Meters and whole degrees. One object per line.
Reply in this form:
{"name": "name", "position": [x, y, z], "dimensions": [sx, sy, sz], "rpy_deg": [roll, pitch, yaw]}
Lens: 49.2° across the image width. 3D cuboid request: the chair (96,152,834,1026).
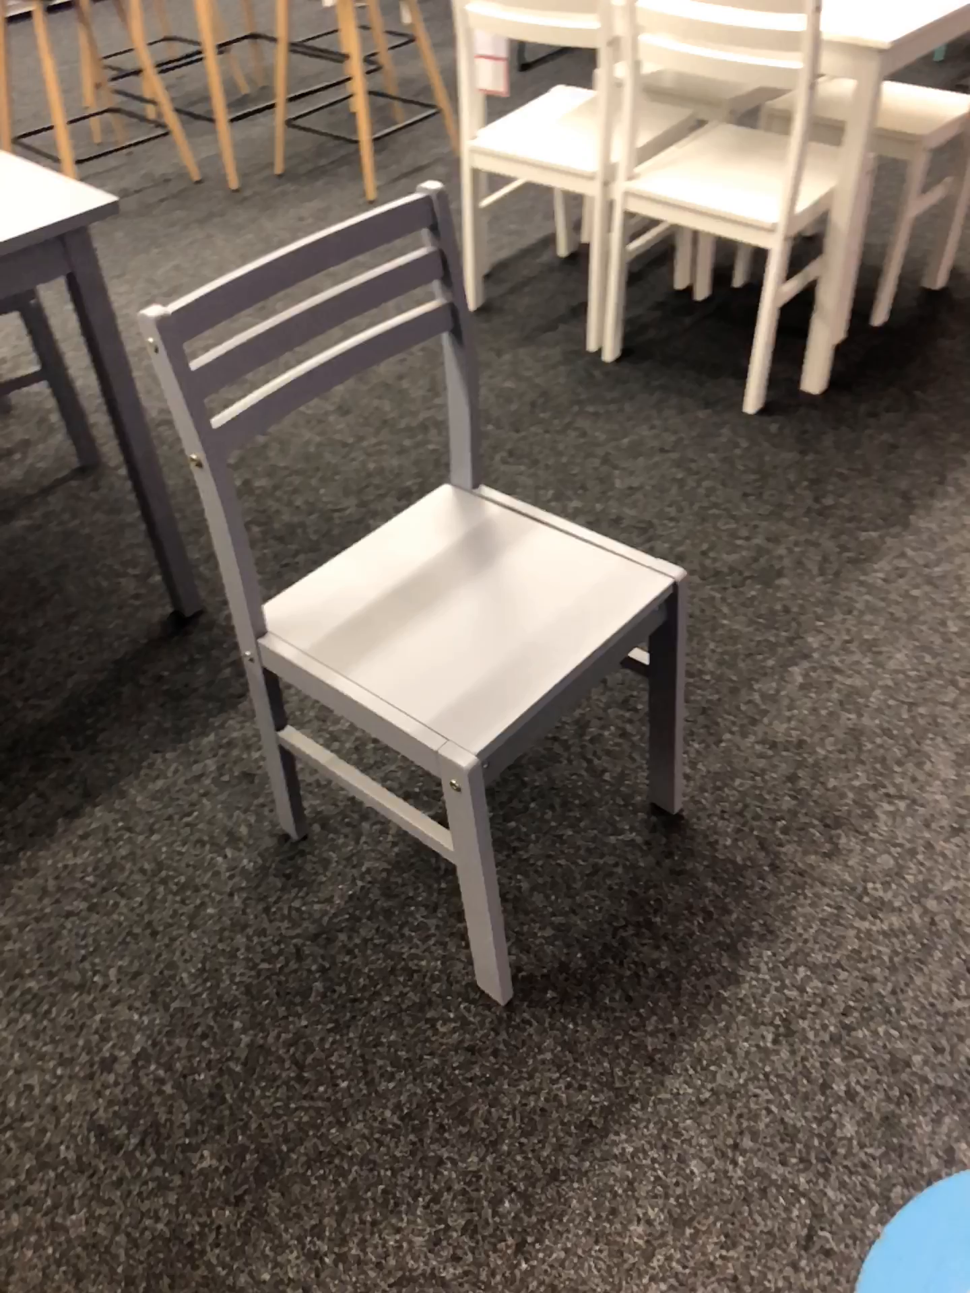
{"name": "chair", "position": [0.003, -0.065, 1.252], "dimensions": [0.490, 0.765, 0.493], "rpy_deg": [28, 51, 29]}
